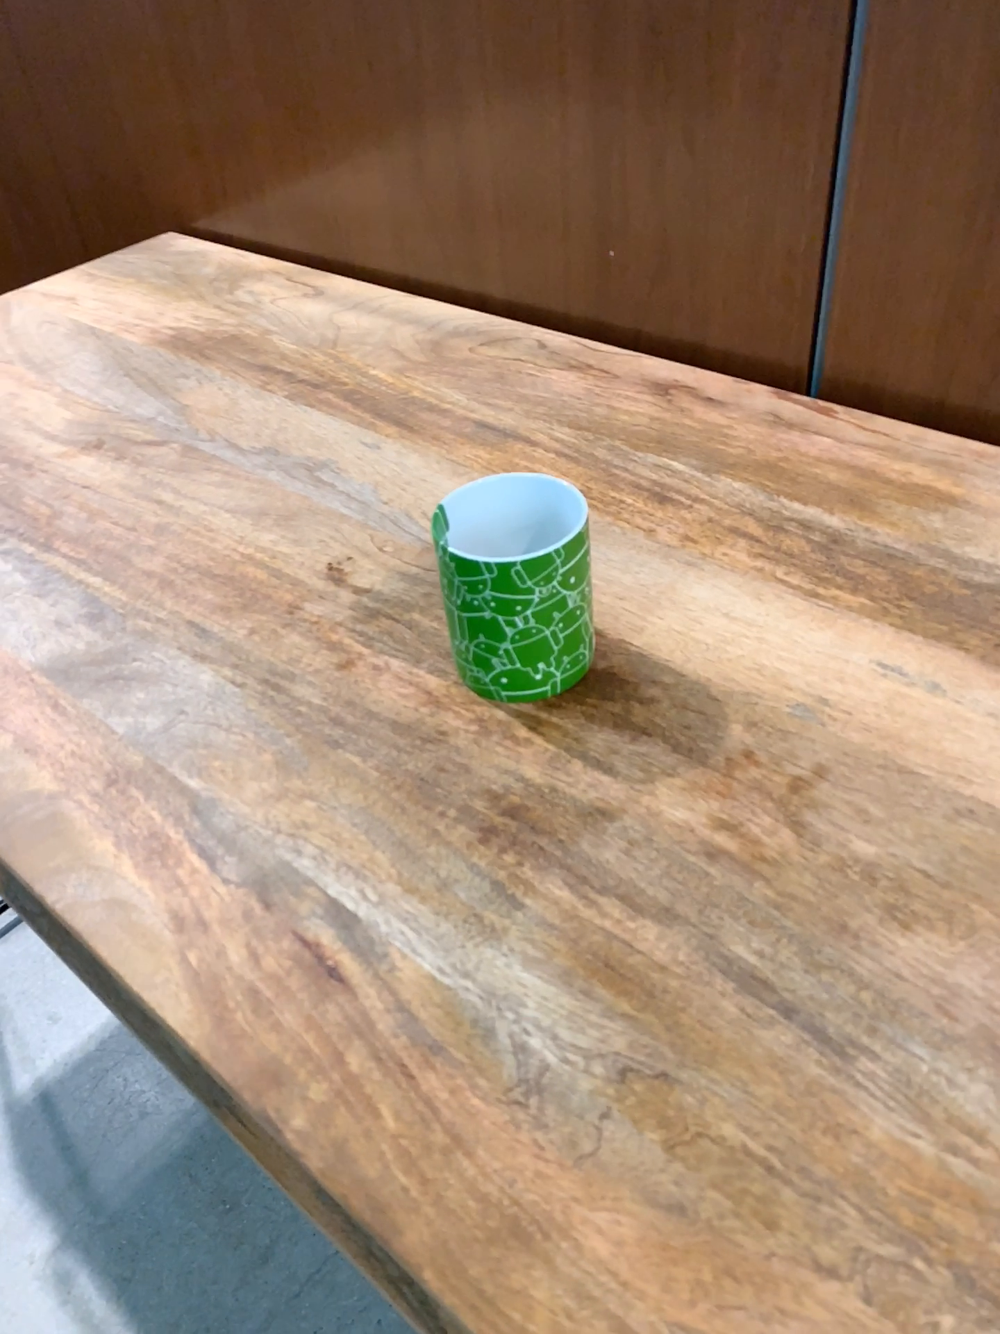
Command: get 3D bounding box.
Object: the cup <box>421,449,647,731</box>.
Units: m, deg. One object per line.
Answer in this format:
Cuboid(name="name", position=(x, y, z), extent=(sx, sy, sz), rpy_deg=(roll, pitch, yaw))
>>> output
Cuboid(name="cup", position=(0.016, -0.046, 0.558), extent=(0.100, 0.080, 0.131), rpy_deg=(-9, 41, -2))
